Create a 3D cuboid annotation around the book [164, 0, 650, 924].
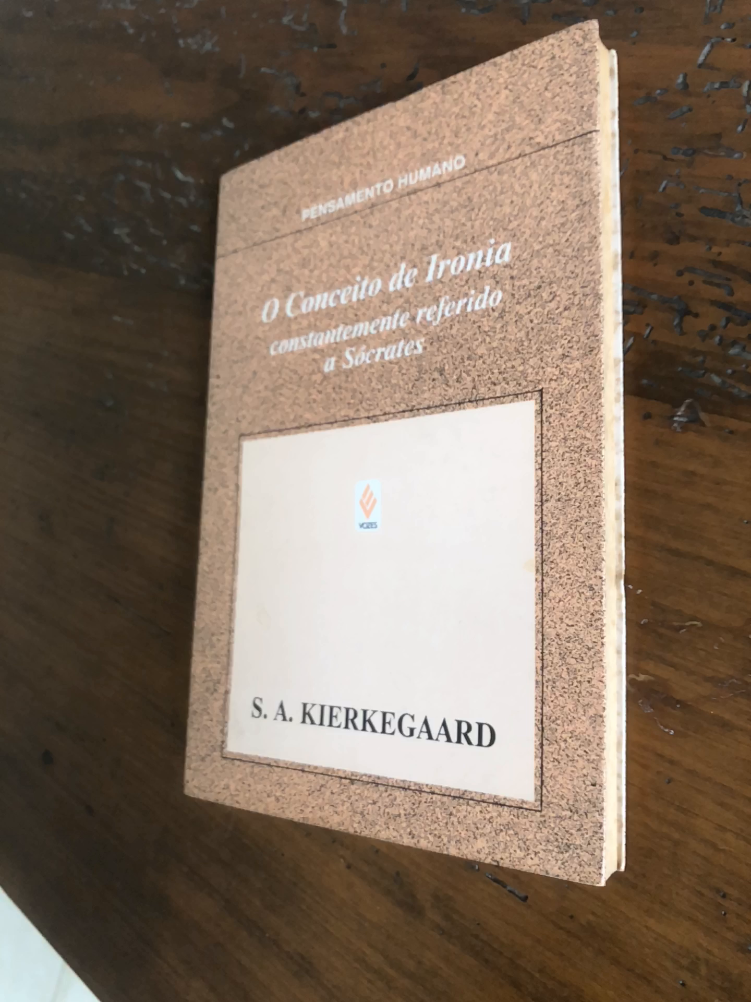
[{"bbox_3d":[0.003,-0.014,0.246,0.145,0.024,0.220,-4,80,36],"label":"book"}]
